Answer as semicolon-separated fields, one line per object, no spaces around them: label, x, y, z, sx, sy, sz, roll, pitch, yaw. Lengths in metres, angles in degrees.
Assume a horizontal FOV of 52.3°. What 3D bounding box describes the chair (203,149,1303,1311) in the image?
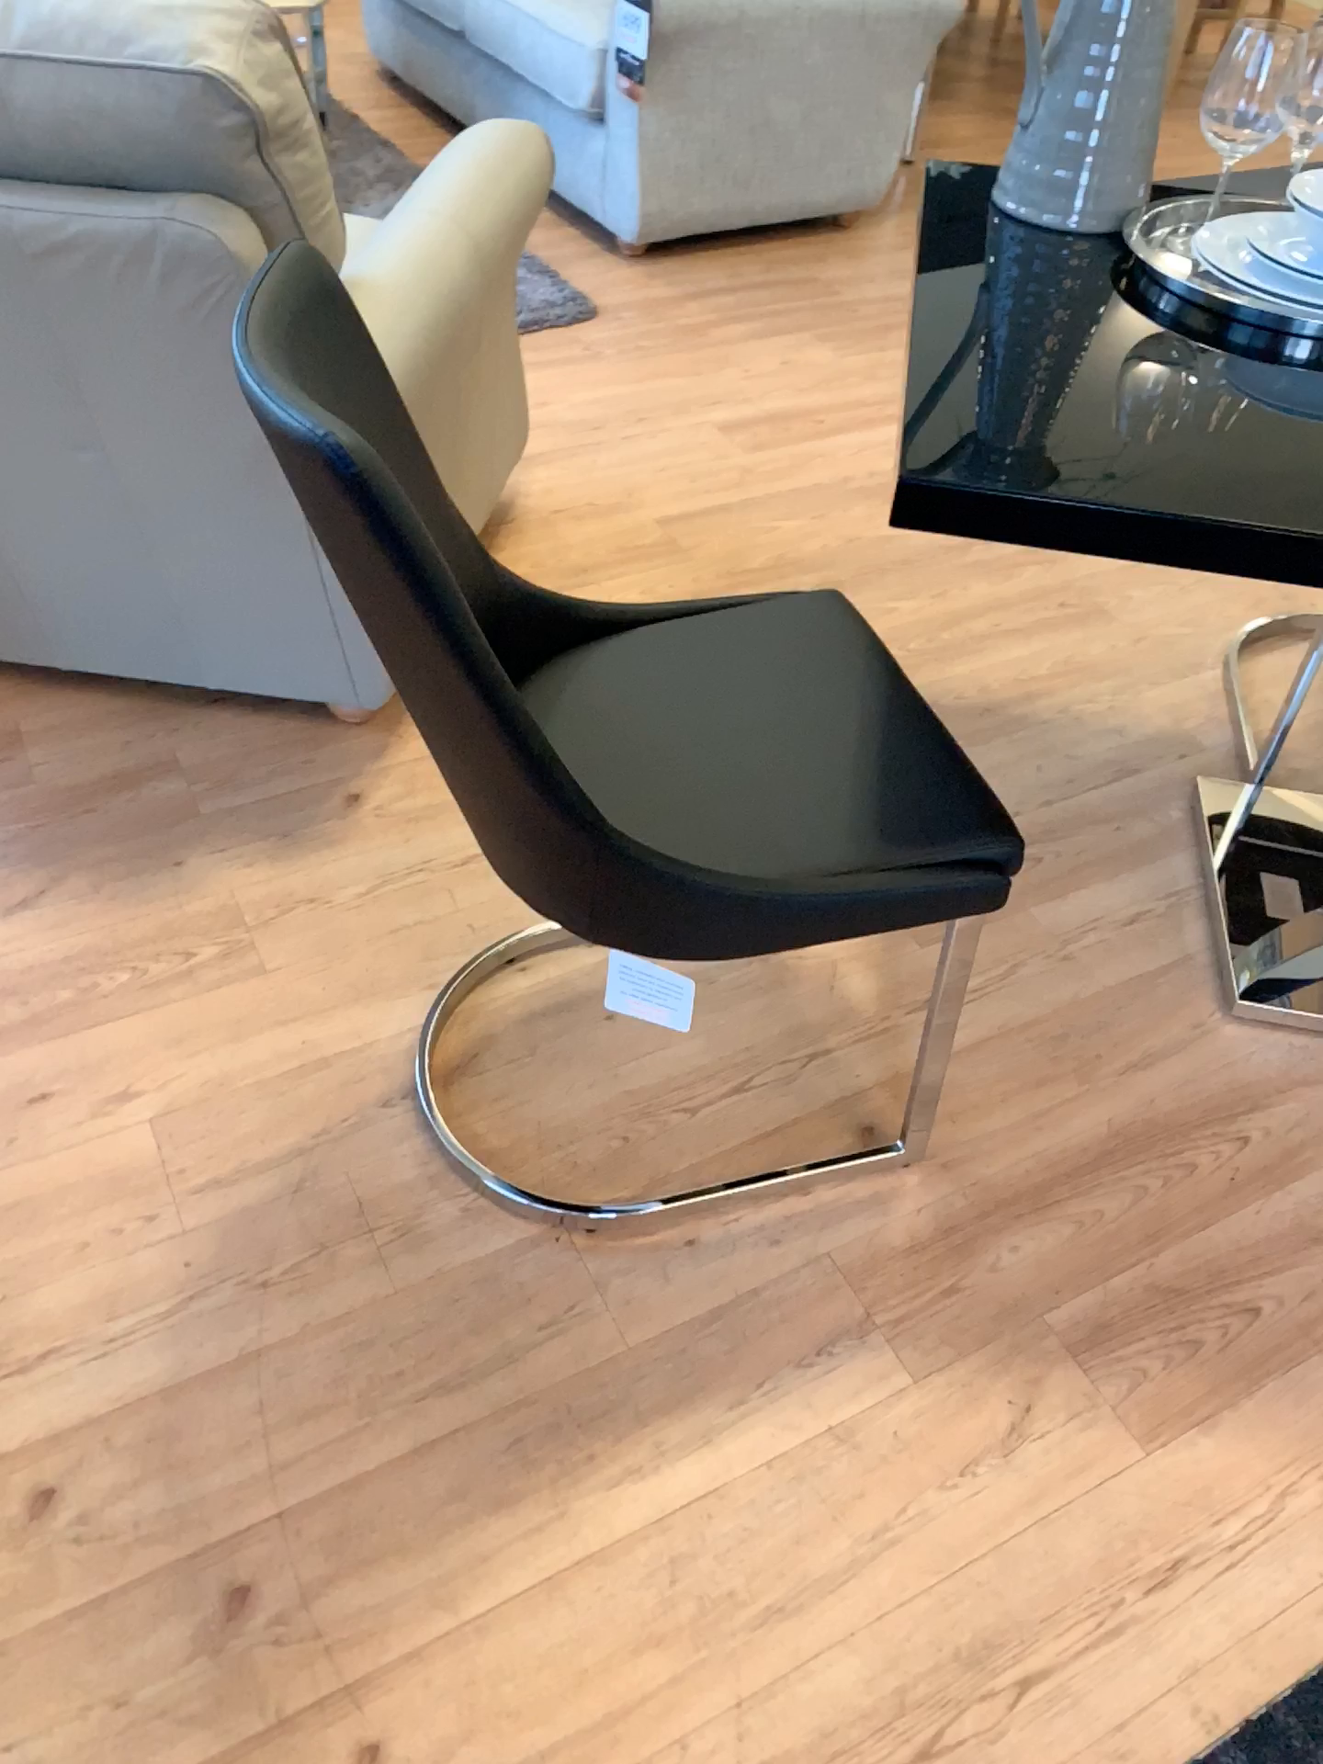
chair;0.008;-0.131;1.220;0.630;0.812;0.510;-11;45;-16
